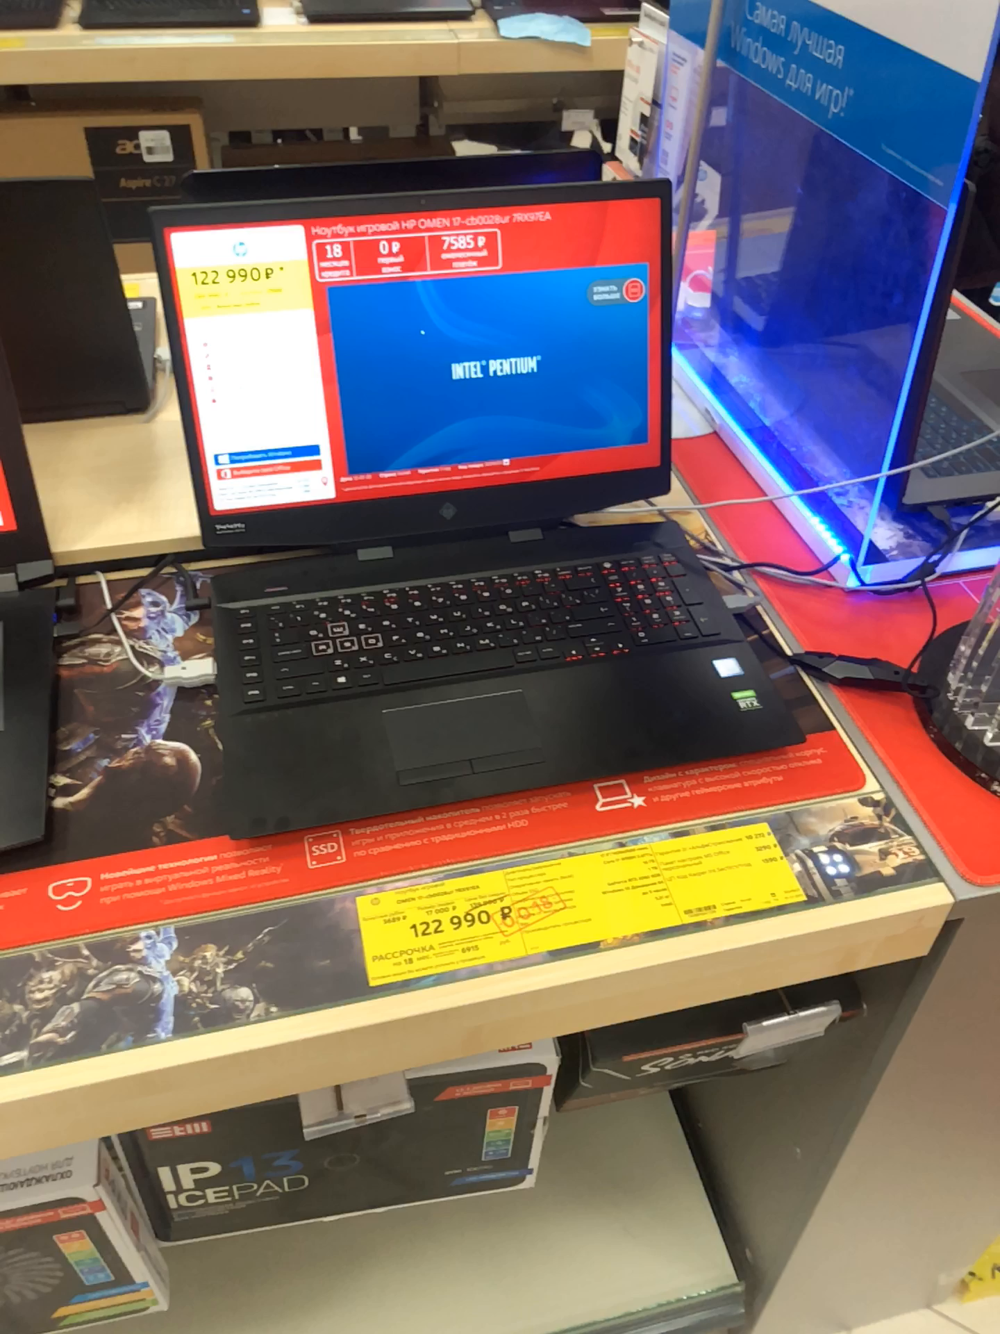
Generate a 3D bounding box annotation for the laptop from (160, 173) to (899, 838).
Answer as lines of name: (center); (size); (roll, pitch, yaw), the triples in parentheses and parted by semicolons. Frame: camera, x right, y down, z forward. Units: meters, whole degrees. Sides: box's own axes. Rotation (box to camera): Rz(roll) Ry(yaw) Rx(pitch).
laptop: (-0.017, -0.141, 0.780); (0.391, 0.246, 0.377); (-8, 44, -10)
